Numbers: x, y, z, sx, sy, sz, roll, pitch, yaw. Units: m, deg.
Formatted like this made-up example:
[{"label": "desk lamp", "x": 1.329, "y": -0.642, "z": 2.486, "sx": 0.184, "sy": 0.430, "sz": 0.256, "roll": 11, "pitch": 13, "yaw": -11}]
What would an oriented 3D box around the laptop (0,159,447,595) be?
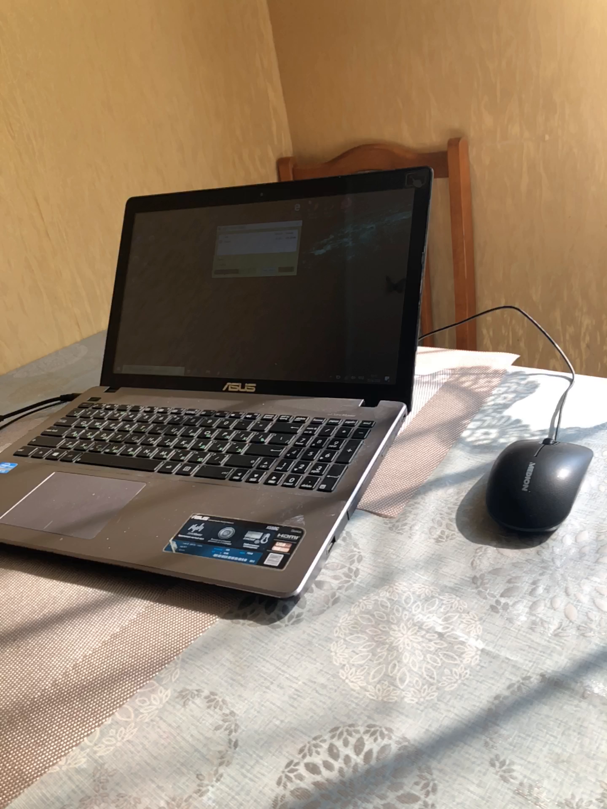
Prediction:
[{"label": "laptop", "x": -0.108, "y": -0.069, "z": 0.619, "sx": 0.378, "sy": 0.183, "sz": 0.399, "roll": 3, "pitch": 31, "yaw": 26}]
